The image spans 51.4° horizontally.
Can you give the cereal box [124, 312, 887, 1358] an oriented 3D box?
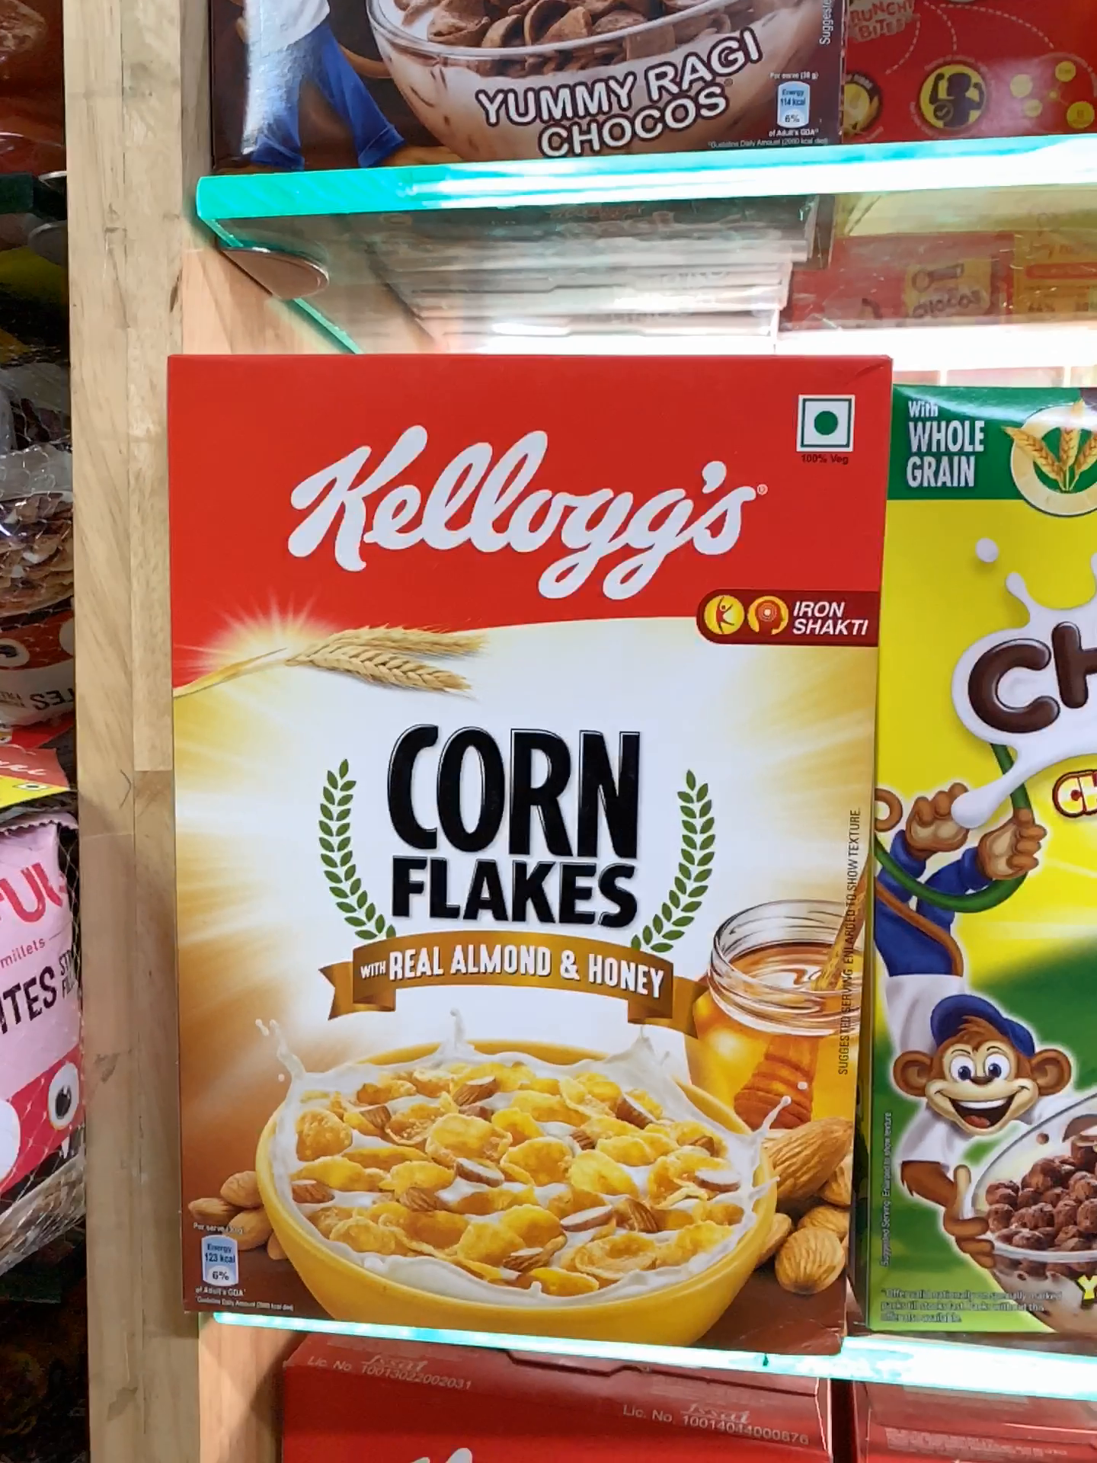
[{"bbox_3d":[-0.011,0.022,0.300,0.170,0.239,0.070,2,7,6],"label":"cereal box"}]
